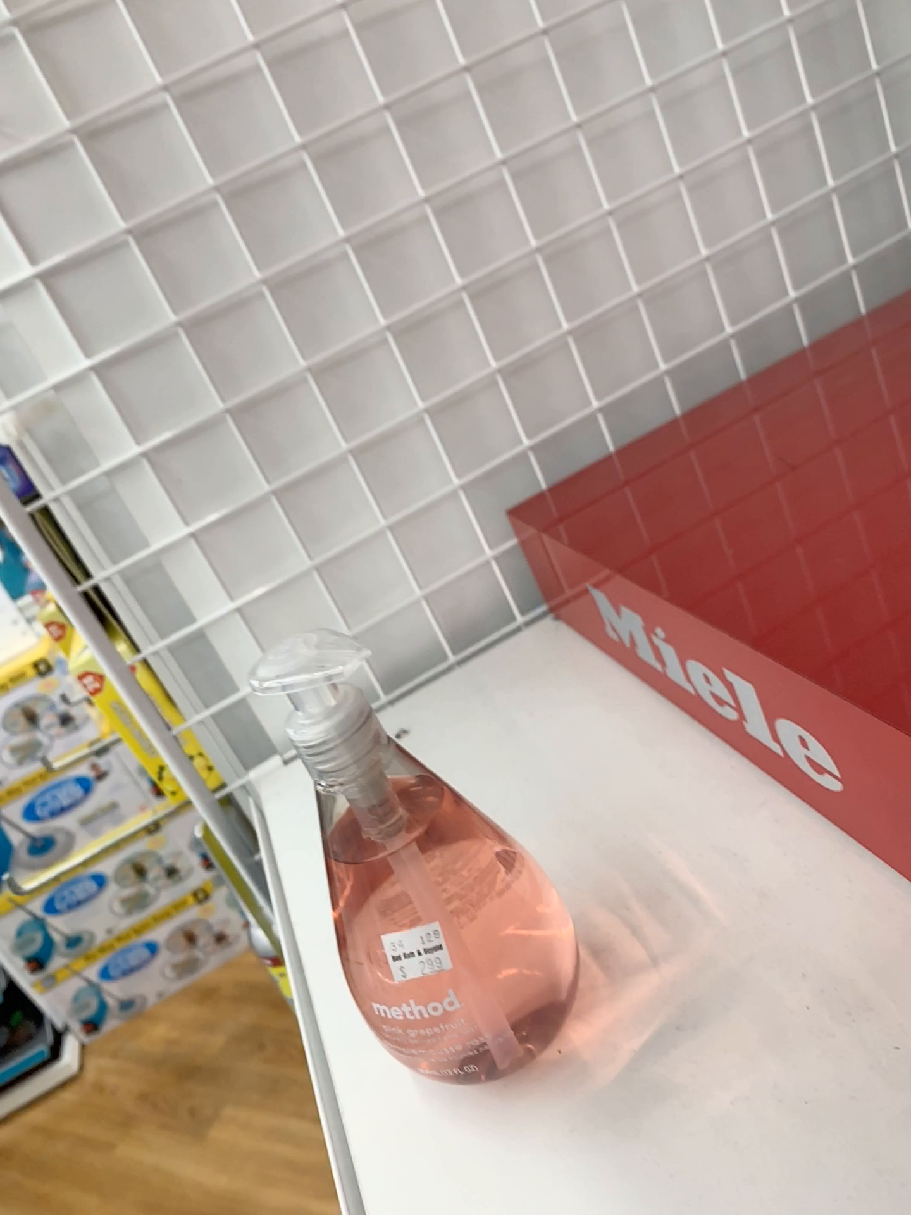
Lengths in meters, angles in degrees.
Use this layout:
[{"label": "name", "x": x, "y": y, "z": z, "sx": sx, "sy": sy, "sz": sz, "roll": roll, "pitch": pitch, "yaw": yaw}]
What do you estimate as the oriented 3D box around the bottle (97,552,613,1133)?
[{"label": "bottle", "x": -0.019, "y": 0.079, "z": 0.302, "sx": 0.080, "sy": 0.160, "sz": 0.078, "roll": -22, "pitch": 22, "yaw": 10}]
